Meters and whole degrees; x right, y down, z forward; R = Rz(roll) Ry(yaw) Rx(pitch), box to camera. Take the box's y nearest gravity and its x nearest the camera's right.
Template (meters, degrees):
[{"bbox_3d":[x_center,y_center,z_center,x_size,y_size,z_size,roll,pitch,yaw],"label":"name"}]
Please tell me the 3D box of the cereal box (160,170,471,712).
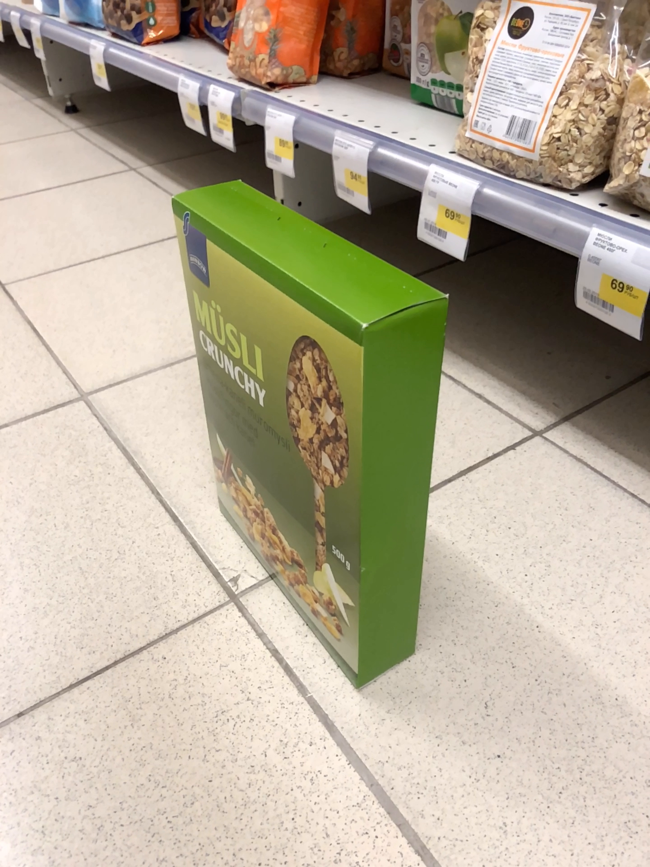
[{"bbox_3d":[-0.015,0.003,0.418,0.050,0.249,0.201,-22,42,-25],"label":"cereal box"}]
